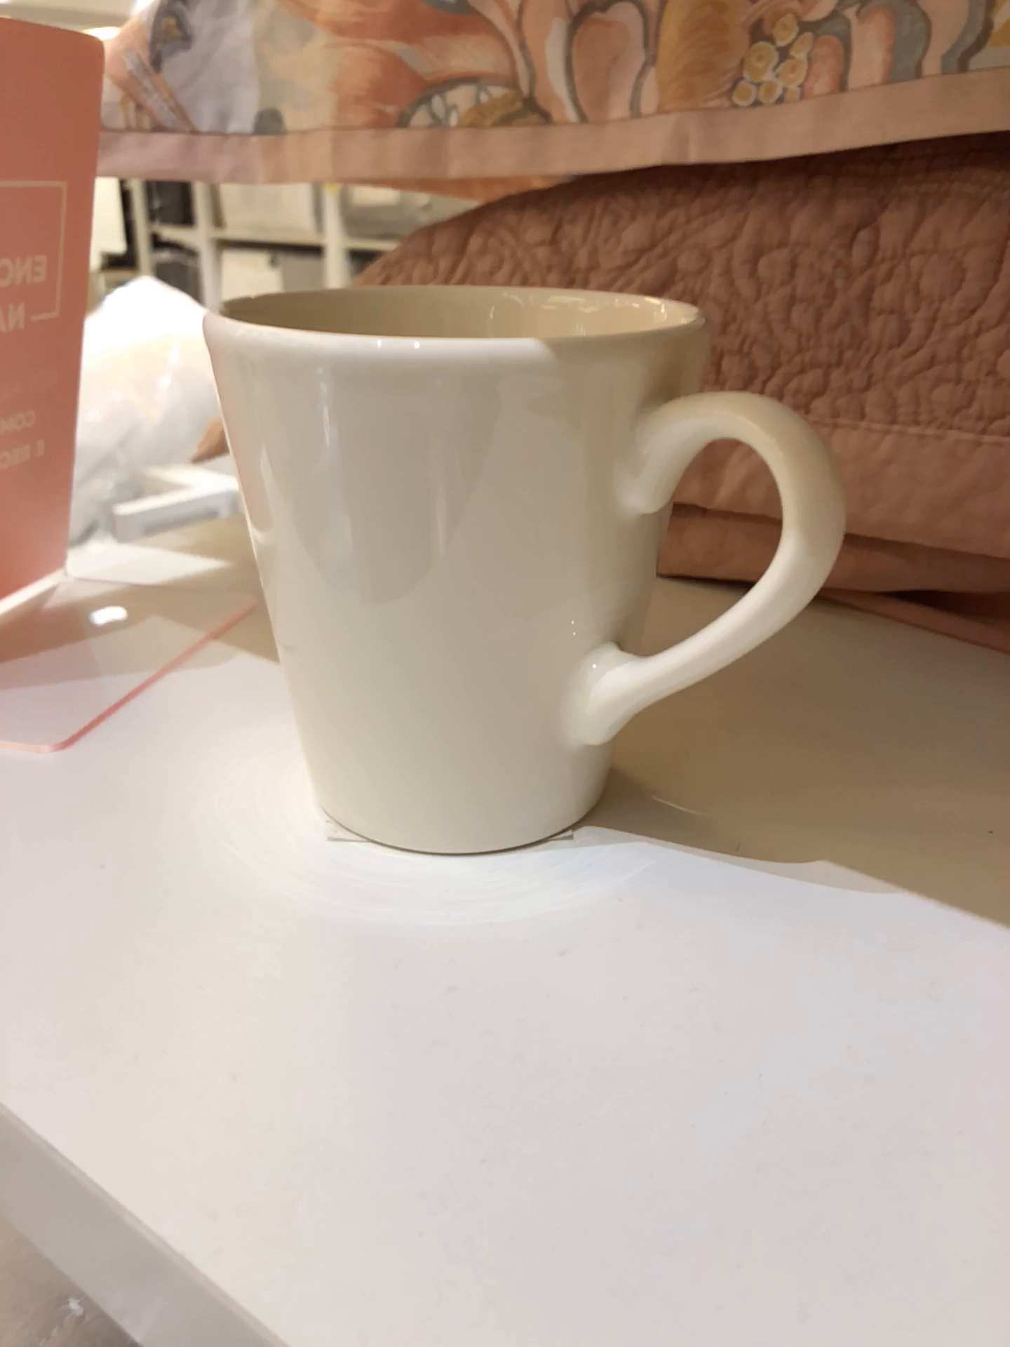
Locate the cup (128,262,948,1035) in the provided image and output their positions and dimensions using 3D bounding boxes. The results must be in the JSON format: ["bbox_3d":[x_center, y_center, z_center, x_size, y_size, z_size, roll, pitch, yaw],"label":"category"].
[{"bbox_3d":[0.008,-0.017,0.204,0.110,0.099,0.080,12,25,25],"label":"cup"}]
